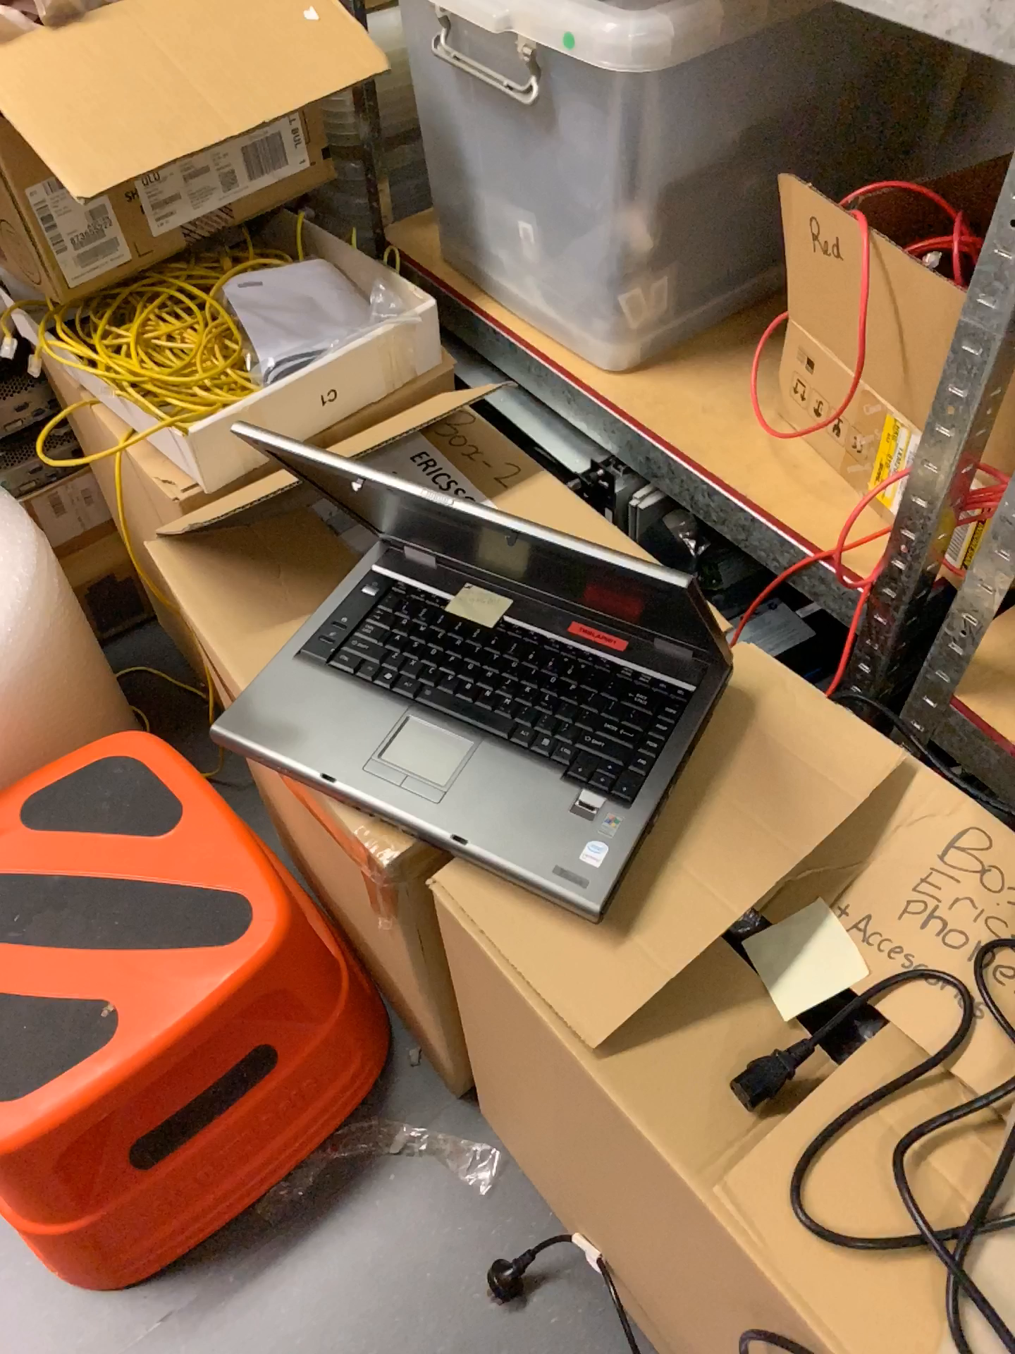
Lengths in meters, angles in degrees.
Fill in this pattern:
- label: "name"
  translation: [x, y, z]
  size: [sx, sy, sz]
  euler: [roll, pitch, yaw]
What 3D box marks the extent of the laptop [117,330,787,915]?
- label: "laptop"
  translation: [-0.030, -0.054, 0.775]
  size: [0.361, 0.238, 0.262]
  euler: [21, 54, 20]
